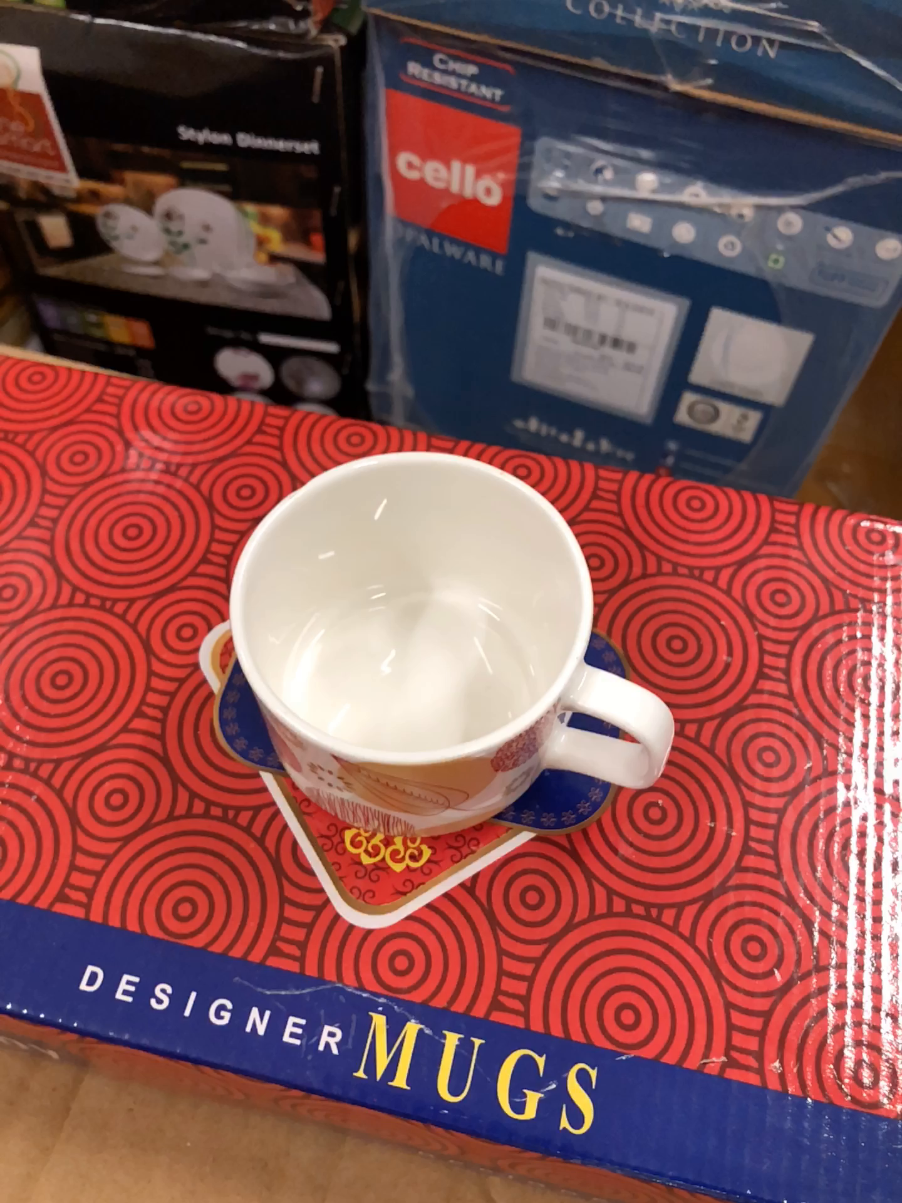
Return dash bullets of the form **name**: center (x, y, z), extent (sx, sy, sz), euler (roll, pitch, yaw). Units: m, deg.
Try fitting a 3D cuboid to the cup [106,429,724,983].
- **cup**: center (-0.004, 0.020, 0.198), extent (0.090, 0.050, 0.070), euler (17, 59, 7)
